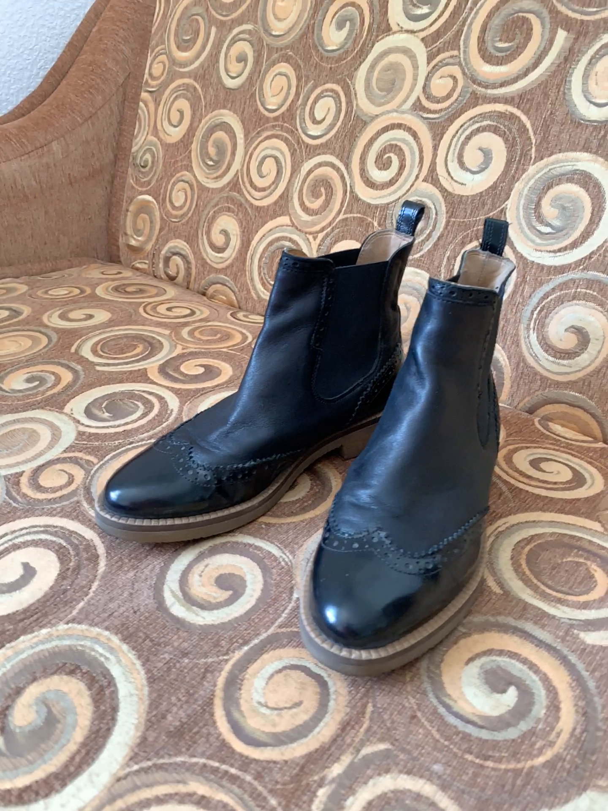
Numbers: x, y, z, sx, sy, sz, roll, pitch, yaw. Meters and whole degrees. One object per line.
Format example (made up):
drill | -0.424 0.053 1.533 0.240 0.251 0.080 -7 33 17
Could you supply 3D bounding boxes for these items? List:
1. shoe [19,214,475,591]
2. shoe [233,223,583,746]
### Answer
shoe | -0.023 -0.020 0.388 0.240 0.139 0.100 -21 37 -30
shoe | 0.081 0.005 0.361 0.100 0.139 0.291 14 34 21
